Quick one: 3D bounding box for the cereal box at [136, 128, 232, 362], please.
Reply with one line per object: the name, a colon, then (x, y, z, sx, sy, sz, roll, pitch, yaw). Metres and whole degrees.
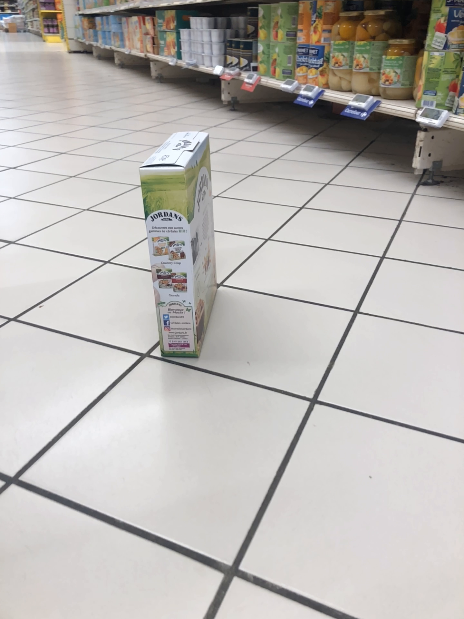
cereal box: (-0.044, -0.083, 0.601, 0.060, 0.219, 0.191, 0, 28, 6)
